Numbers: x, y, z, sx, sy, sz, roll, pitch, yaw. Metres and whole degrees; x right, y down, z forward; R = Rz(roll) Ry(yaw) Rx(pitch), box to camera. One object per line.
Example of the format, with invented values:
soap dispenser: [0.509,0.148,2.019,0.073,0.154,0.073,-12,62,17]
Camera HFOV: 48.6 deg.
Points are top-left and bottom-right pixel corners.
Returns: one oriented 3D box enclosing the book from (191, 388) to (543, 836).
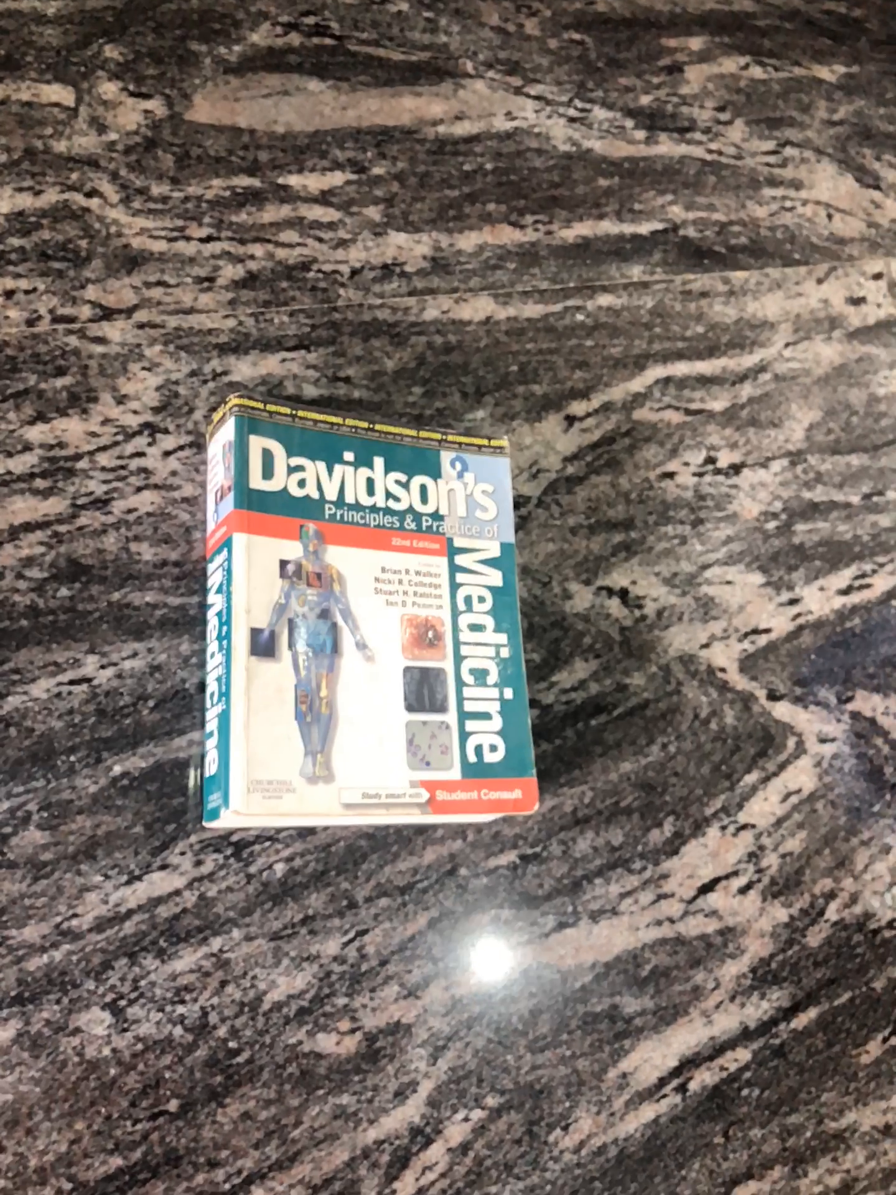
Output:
book: [-0.055,0.013,0.638,0.201,0.070,0.260,5,70,-26]
